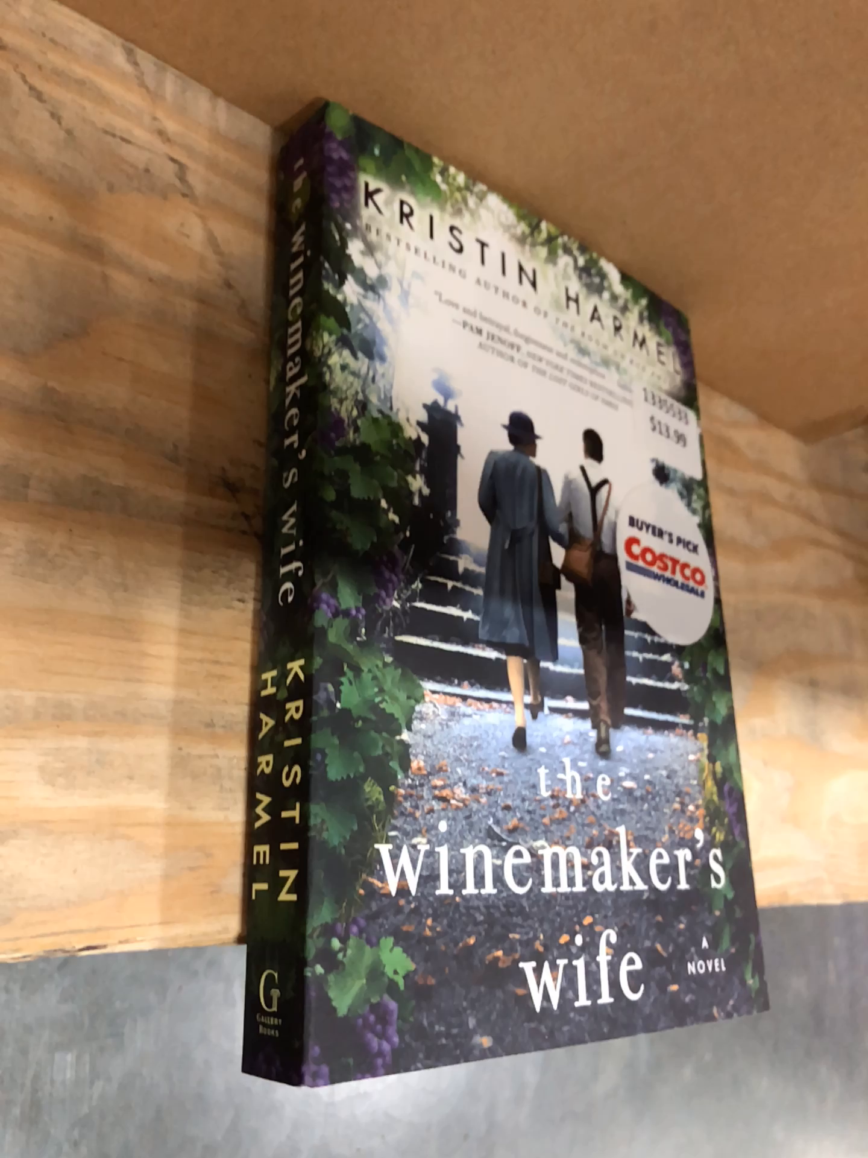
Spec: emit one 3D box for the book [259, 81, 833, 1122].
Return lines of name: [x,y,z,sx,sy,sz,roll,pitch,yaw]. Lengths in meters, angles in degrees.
book: [0.031,0.004,0.264,0.155,0.035,0.229,14,64,-39]
